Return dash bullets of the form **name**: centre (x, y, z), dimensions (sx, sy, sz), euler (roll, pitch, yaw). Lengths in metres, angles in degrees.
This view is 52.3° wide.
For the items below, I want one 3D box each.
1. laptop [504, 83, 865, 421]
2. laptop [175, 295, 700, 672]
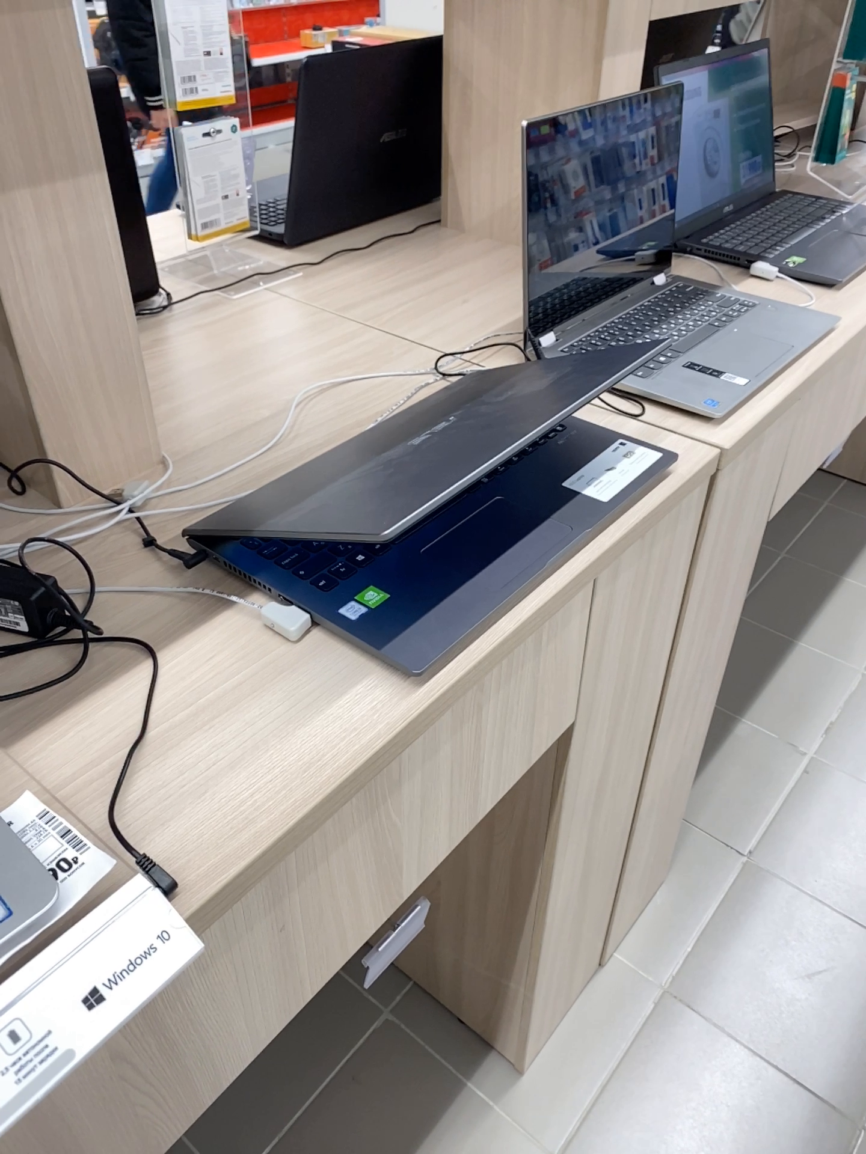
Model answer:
- **laptop**: centre (0.289, -0.373, 0.957), dimensions (0.259, 0.222, 0.352), euler (26, 44, 29)
- **laptop**: centre (0.018, -0.105, 0.701), dimensions (0.230, 0.097, 0.355), euler (27, 44, 31)
